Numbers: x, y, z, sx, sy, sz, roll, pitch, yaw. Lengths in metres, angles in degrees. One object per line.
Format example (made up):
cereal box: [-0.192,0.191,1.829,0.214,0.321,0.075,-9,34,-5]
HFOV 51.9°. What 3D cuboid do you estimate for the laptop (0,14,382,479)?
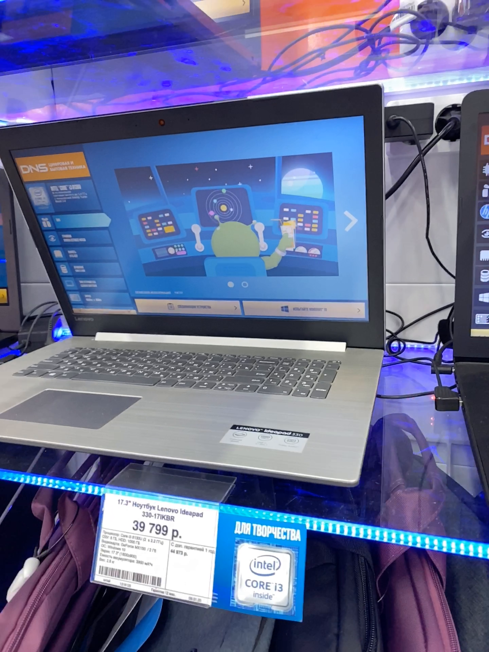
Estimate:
laptop: [-0.093,-0.071,0.476,0.417,0.256,0.280,1,14,19]
